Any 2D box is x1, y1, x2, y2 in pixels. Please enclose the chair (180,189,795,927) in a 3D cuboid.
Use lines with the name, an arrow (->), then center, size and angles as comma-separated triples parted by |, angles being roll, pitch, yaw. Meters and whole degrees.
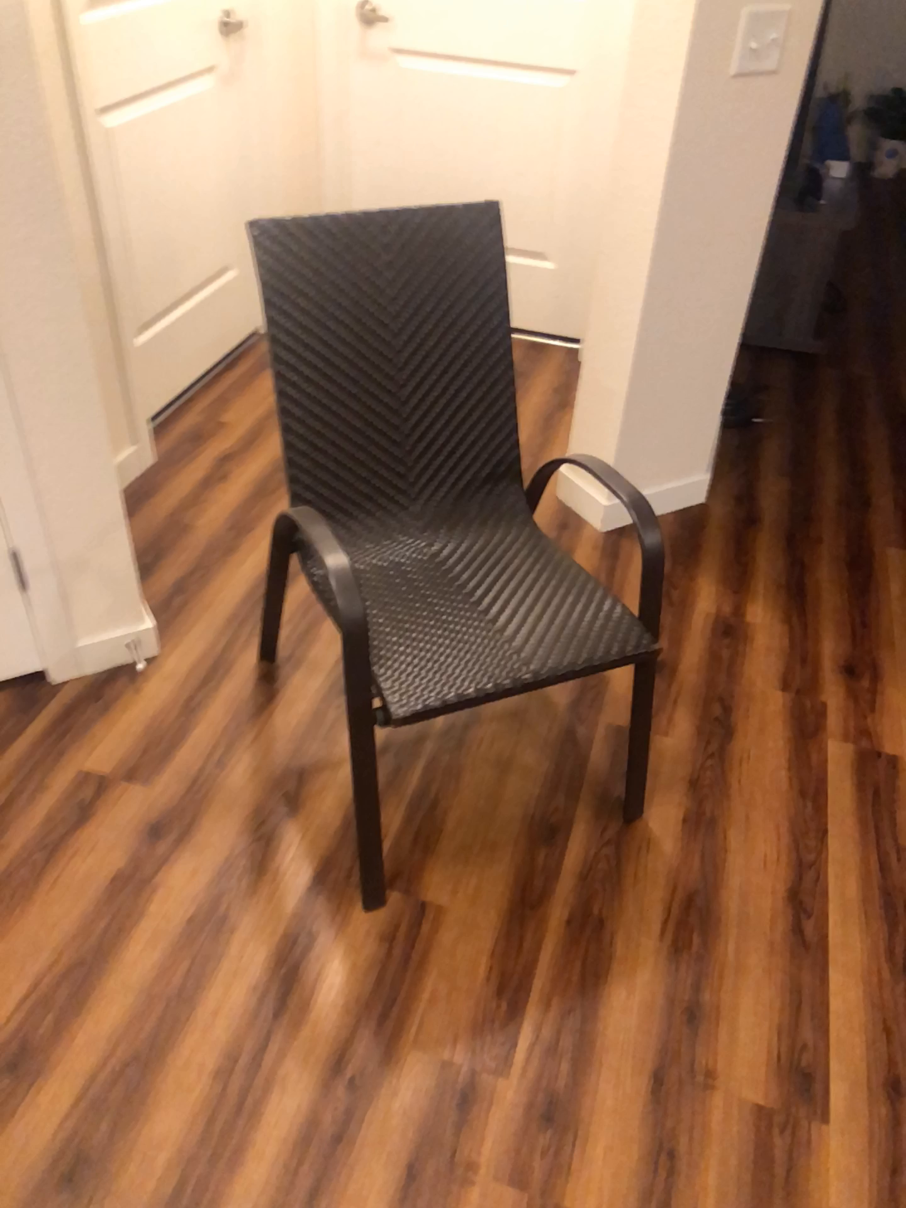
chair -> -0.024, -0.117, 1.643 | 0.597, 0.853, 0.750 | -13, 41, -20
